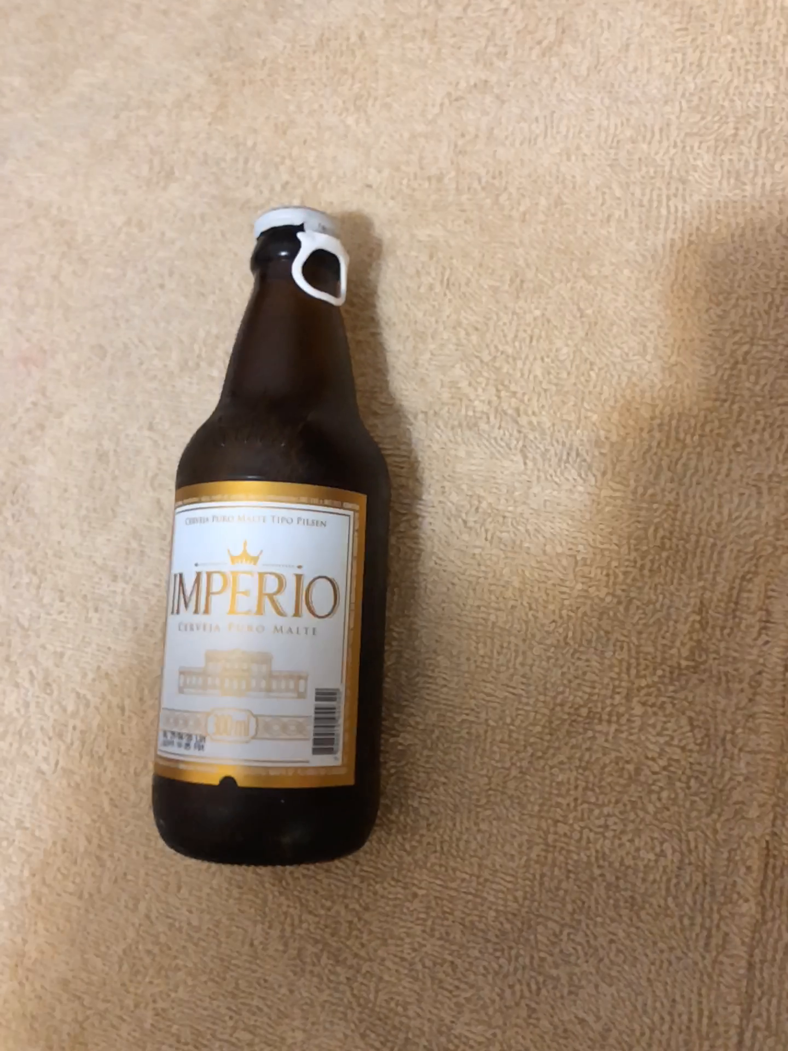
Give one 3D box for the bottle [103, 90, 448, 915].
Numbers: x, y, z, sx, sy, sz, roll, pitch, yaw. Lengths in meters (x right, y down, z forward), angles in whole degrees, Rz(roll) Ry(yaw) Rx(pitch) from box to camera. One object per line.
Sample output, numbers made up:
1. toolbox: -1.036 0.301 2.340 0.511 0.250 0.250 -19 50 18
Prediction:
1. bottle: -0.025 -0.007 0.237 0.060 0.060 0.190 -2 79 20
